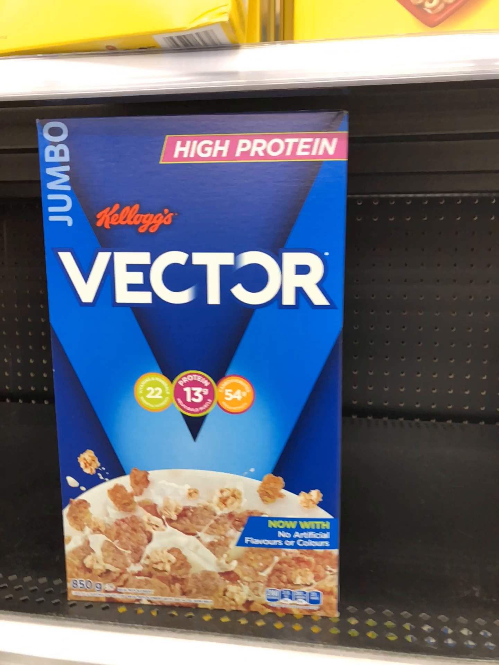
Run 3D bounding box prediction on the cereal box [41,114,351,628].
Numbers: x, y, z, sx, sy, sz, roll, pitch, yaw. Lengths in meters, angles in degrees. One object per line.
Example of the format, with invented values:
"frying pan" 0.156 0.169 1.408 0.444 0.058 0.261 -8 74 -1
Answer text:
"cereal box" -0.032 0.030 0.417 0.200 0.349 0.080 1 9 7
